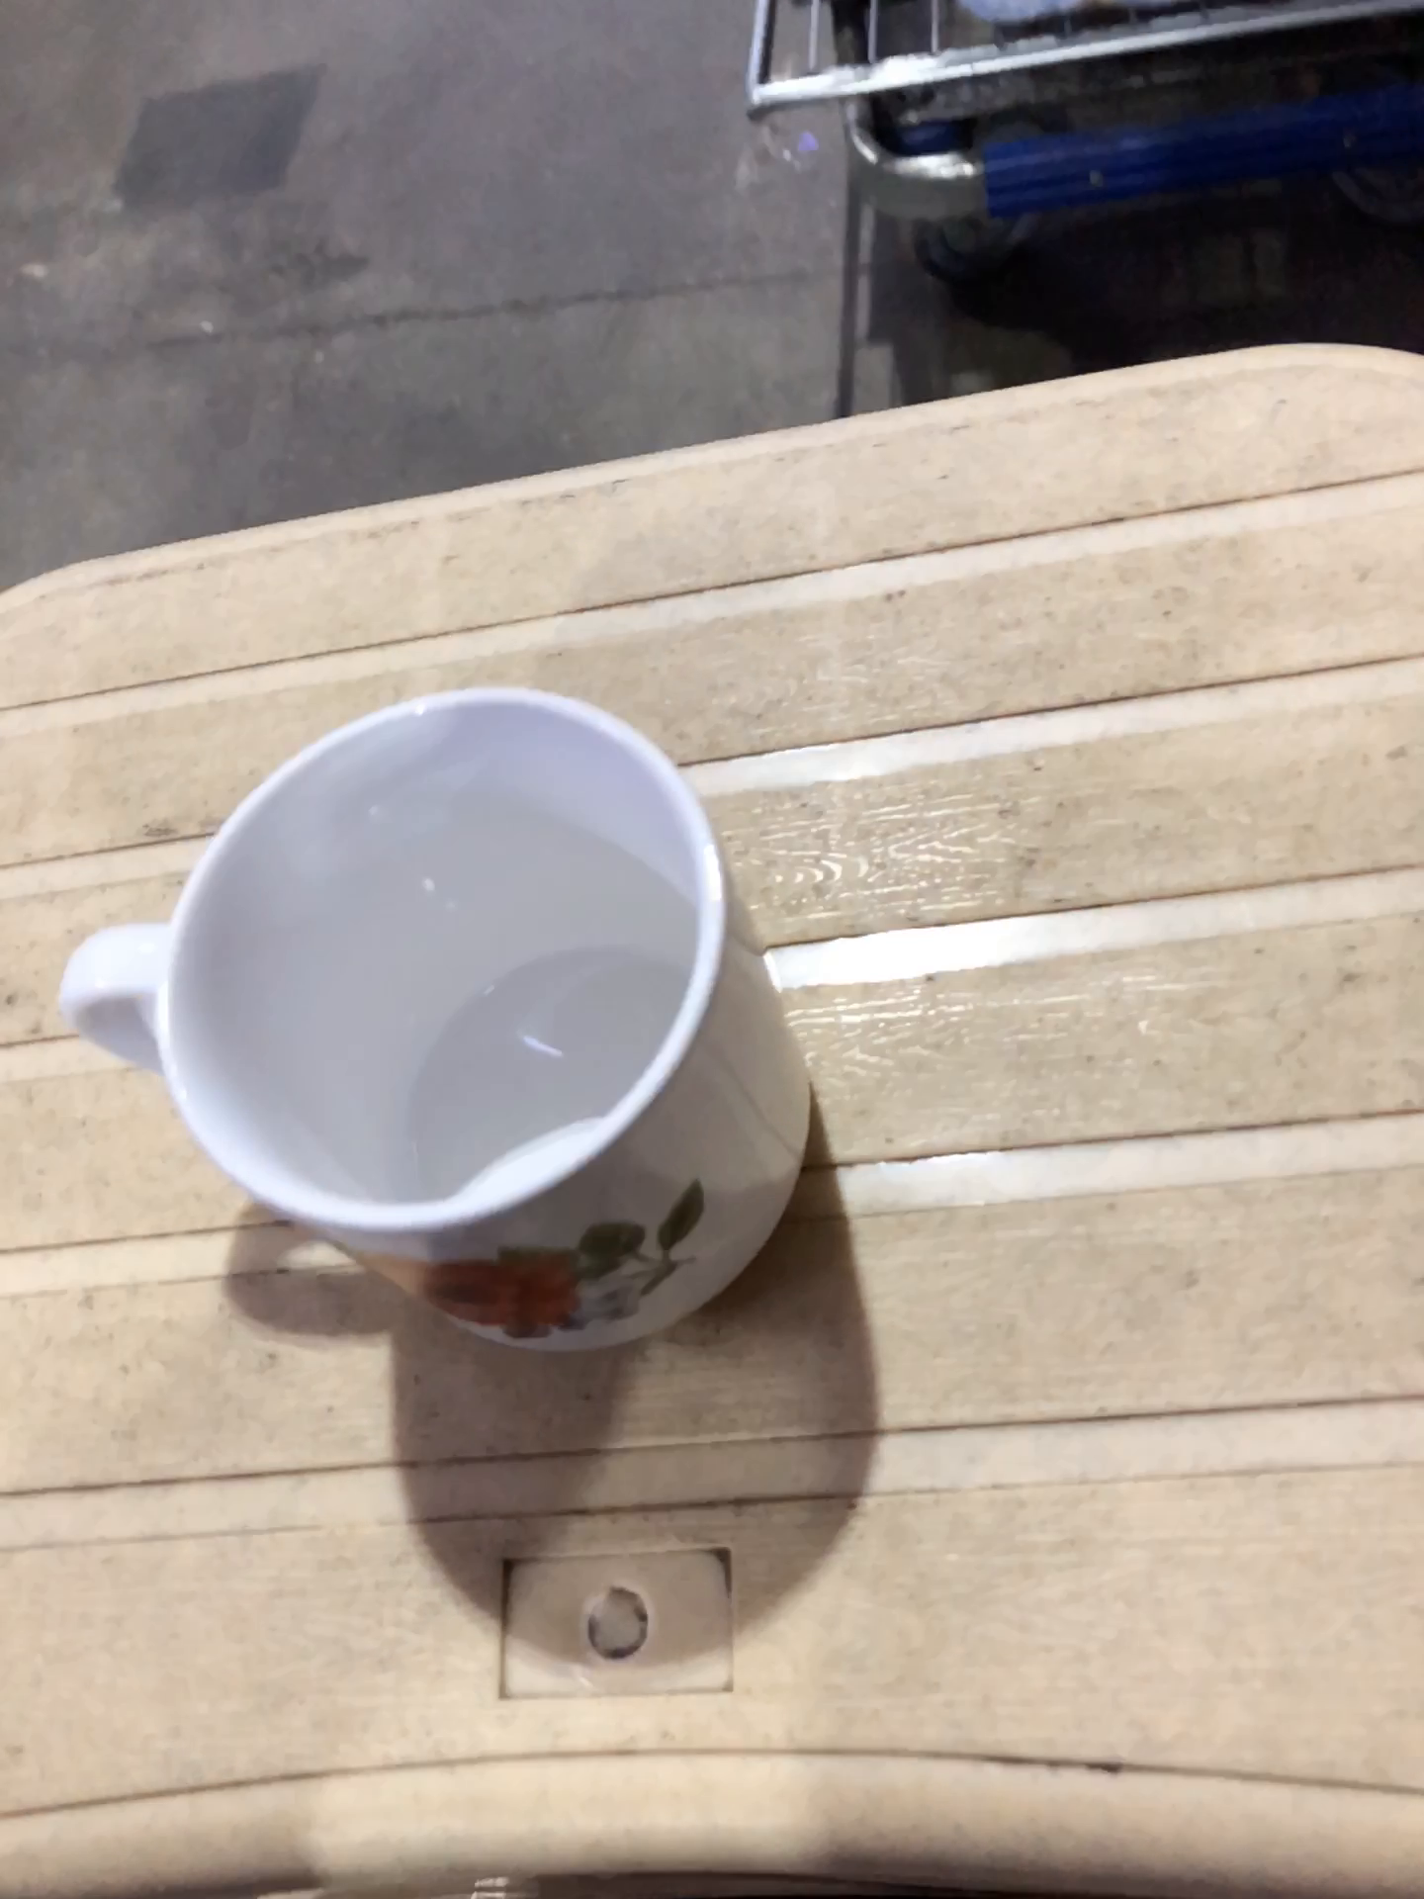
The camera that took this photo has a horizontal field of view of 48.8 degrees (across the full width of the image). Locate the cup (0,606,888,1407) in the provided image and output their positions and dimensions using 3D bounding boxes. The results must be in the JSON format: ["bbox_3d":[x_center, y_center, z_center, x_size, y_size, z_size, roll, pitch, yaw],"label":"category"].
[{"bbox_3d":[-0.034,0.010,0.186,0.100,0.060,0.070,-1,62,14],"label":"cup"}]
